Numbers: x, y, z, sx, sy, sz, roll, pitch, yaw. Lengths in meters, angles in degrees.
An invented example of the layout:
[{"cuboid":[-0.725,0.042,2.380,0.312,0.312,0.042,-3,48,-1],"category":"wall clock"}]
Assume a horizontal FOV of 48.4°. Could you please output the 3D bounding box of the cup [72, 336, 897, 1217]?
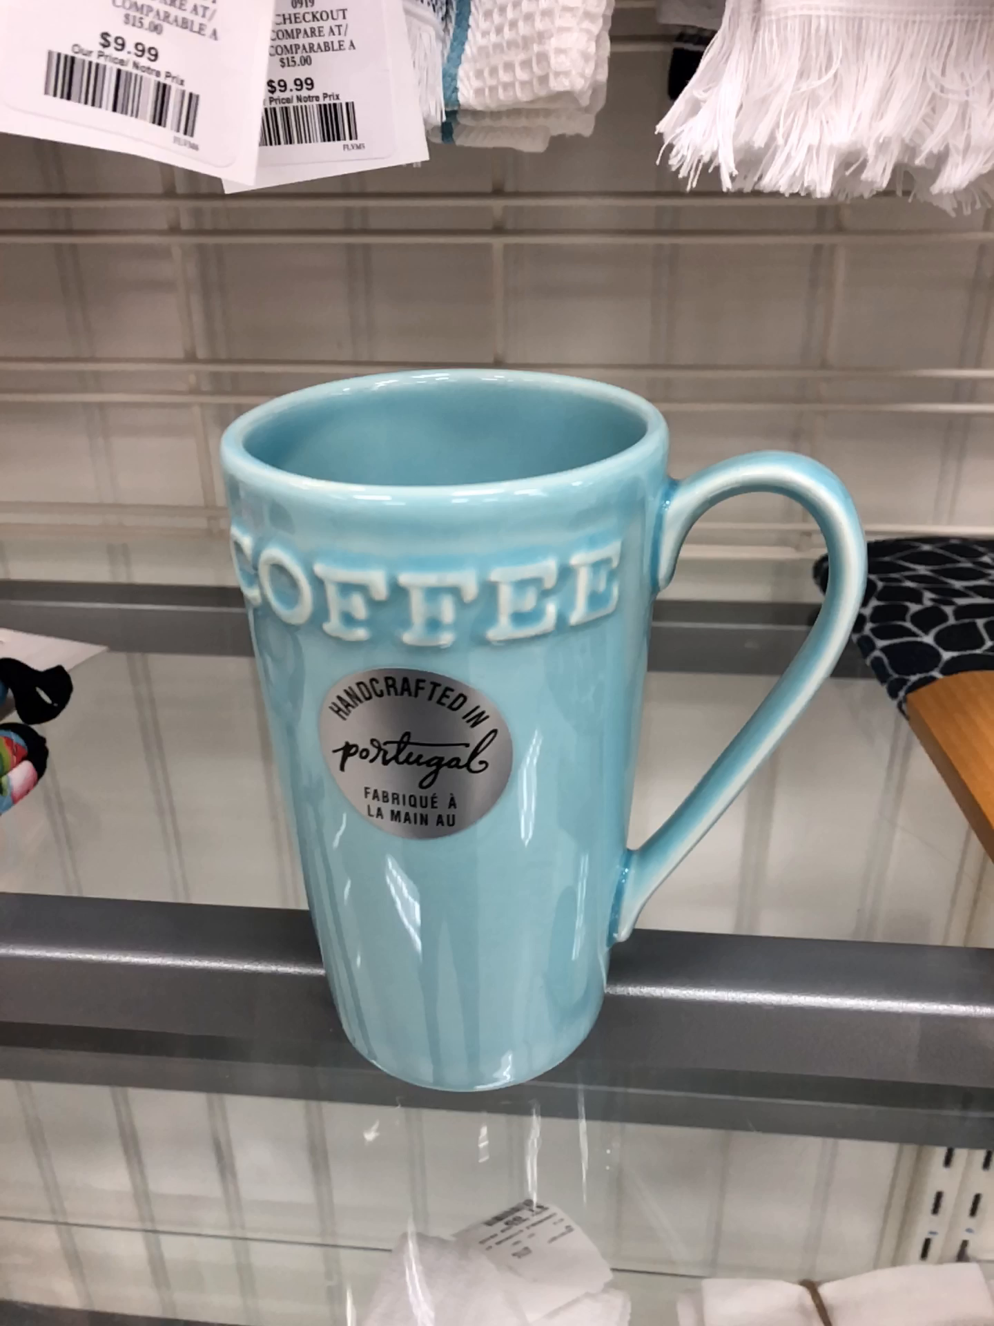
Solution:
[{"cuboid":[0.005,0.014,0.236,0.130,0.139,0.091,9,28,18],"category":"cup"}]
